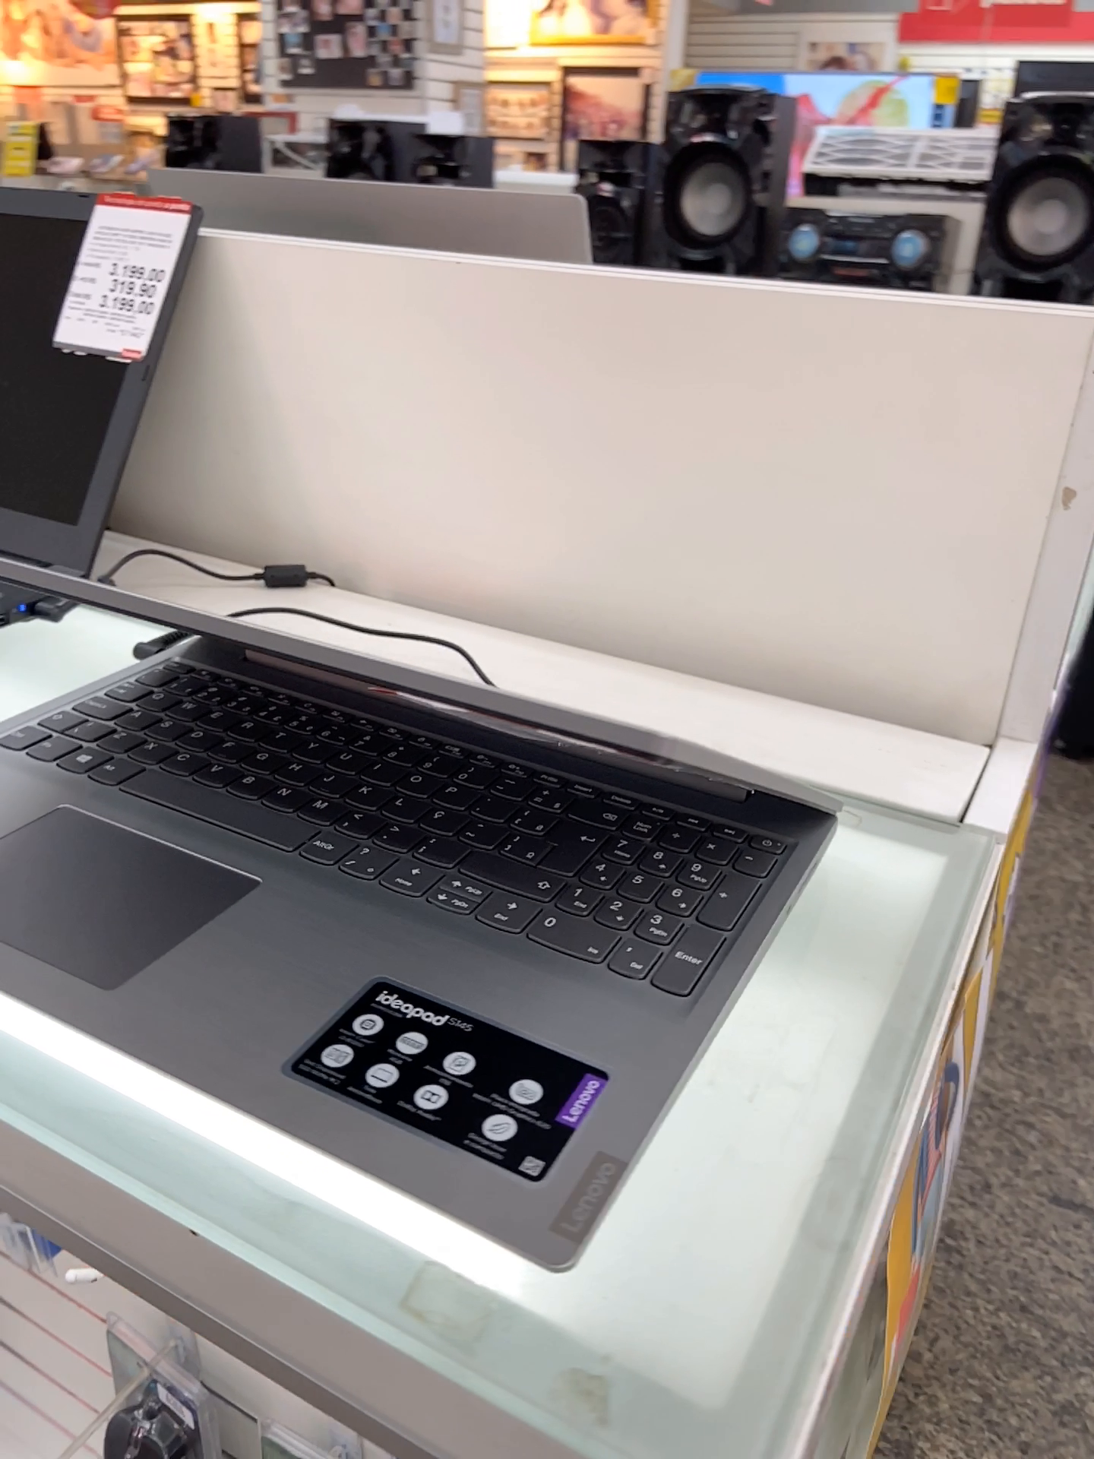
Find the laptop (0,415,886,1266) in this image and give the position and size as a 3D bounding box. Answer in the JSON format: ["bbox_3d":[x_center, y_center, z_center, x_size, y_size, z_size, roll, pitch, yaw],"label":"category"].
[{"bbox_3d":[-0.092,-0.014,0.413,0.354,0.122,0.240,15,29,25],"label":"laptop"}]
